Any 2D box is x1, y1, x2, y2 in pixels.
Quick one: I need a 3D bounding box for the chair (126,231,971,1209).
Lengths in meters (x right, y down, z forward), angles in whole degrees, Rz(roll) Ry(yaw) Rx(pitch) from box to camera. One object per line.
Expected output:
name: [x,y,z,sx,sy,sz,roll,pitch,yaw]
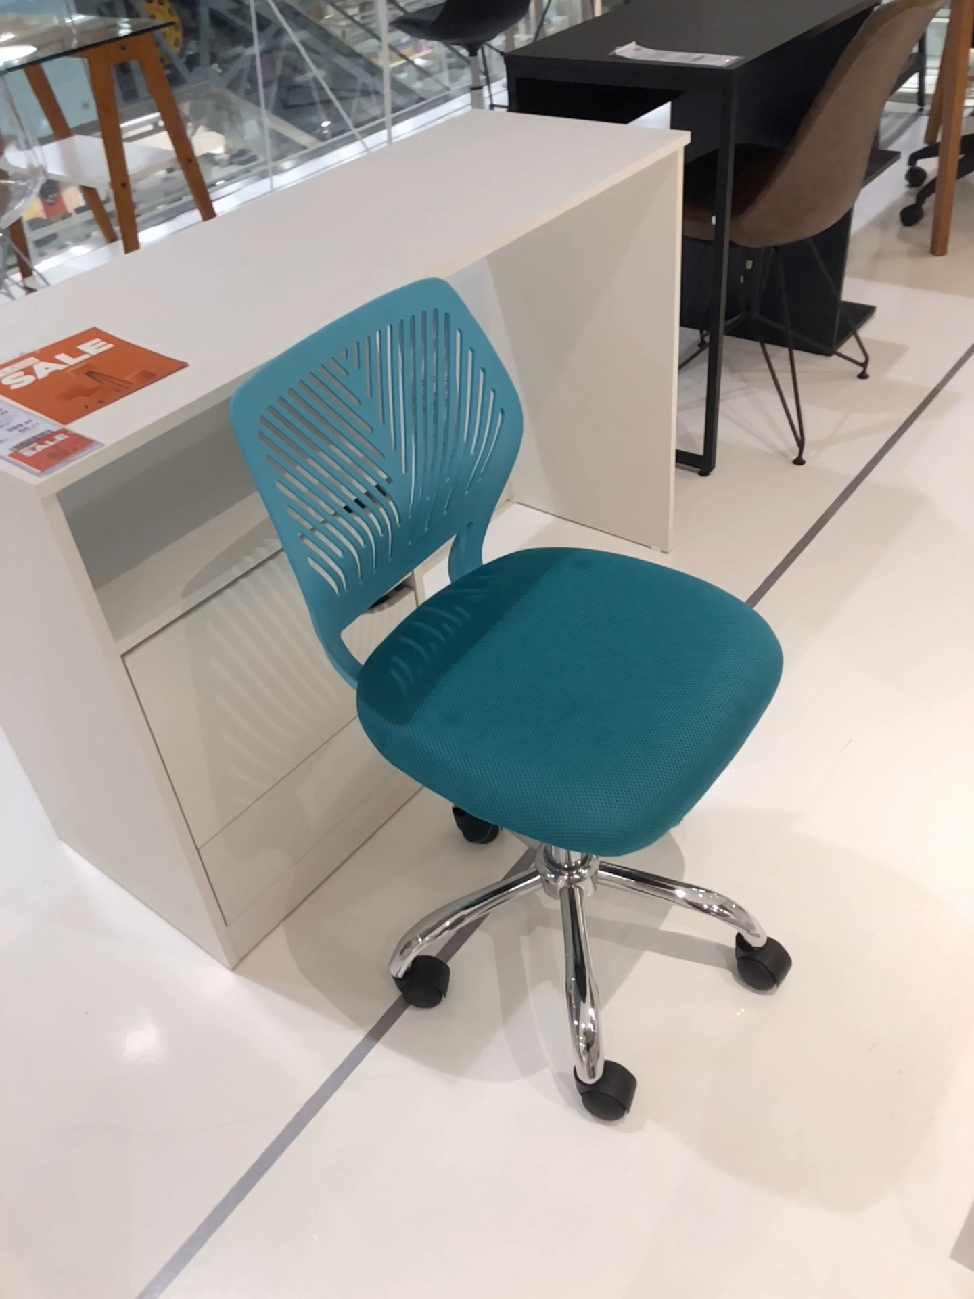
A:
chair: [0.095,0.045,1.093,0.501,0.724,0.503,20,45,30]
